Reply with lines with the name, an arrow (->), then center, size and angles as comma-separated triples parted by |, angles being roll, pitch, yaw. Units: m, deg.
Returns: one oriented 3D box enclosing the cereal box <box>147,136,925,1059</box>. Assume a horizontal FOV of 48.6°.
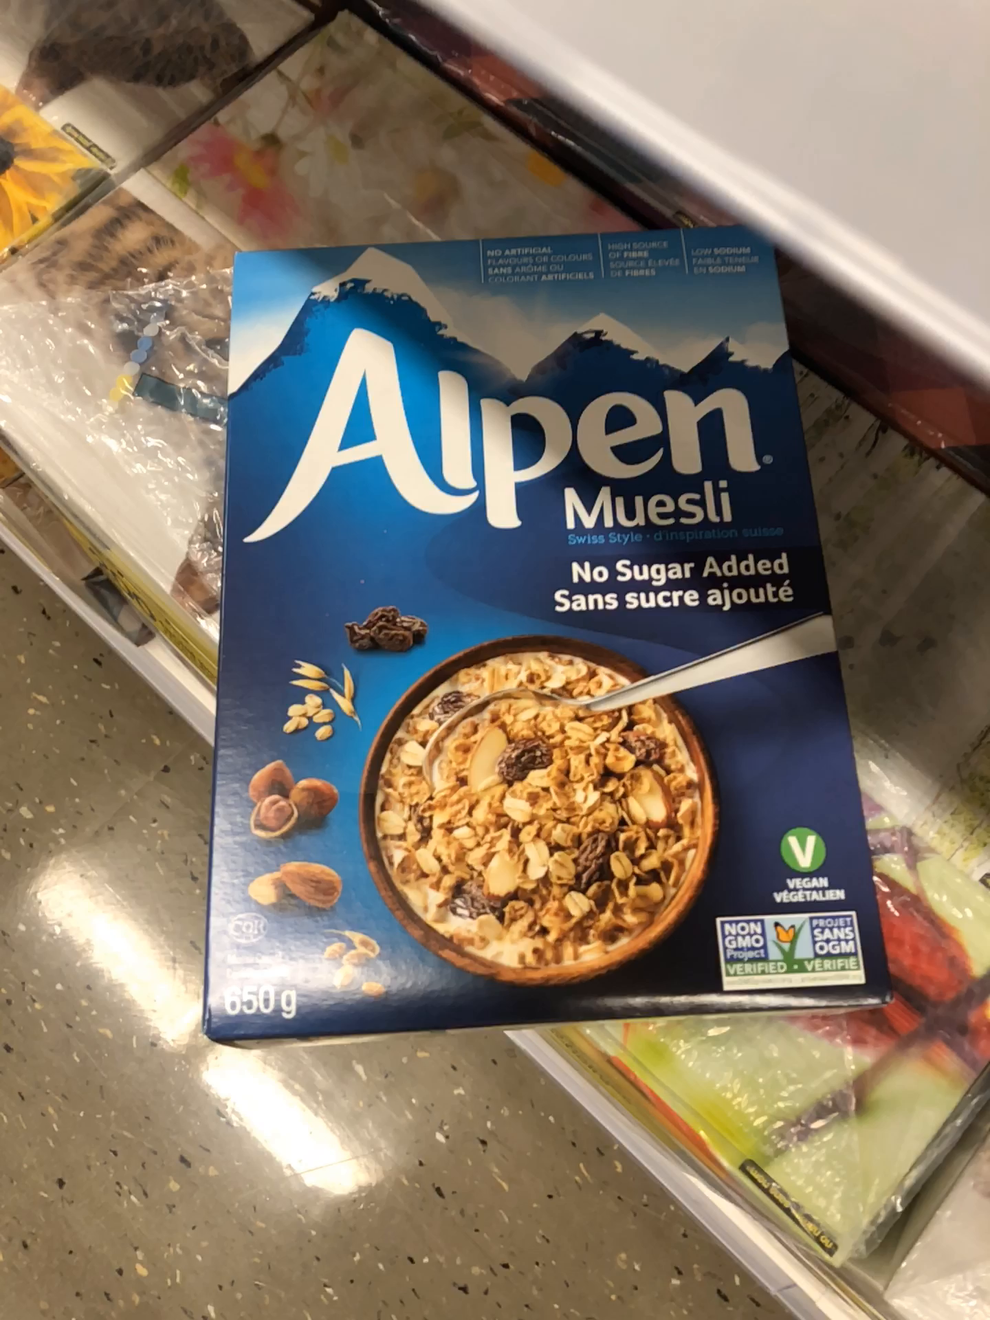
cereal box -> 0.003, -0.028, 0.335 | 0.190, 0.050, 0.270 | -3, 71, 0
